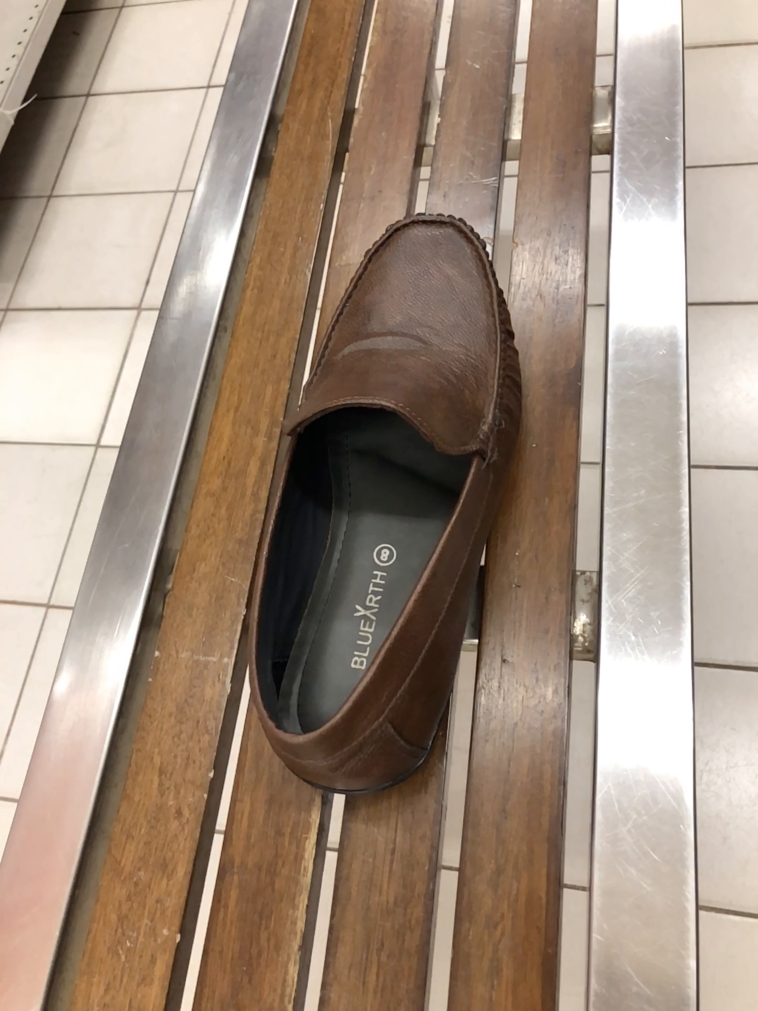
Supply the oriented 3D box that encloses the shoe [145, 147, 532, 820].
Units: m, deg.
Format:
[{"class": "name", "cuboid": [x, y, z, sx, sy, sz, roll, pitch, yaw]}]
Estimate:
[{"class": "shoe", "cuboid": [0.000, -0.019, 0.374, 0.090, 0.090, 0.281, 7, 67, 16]}]
